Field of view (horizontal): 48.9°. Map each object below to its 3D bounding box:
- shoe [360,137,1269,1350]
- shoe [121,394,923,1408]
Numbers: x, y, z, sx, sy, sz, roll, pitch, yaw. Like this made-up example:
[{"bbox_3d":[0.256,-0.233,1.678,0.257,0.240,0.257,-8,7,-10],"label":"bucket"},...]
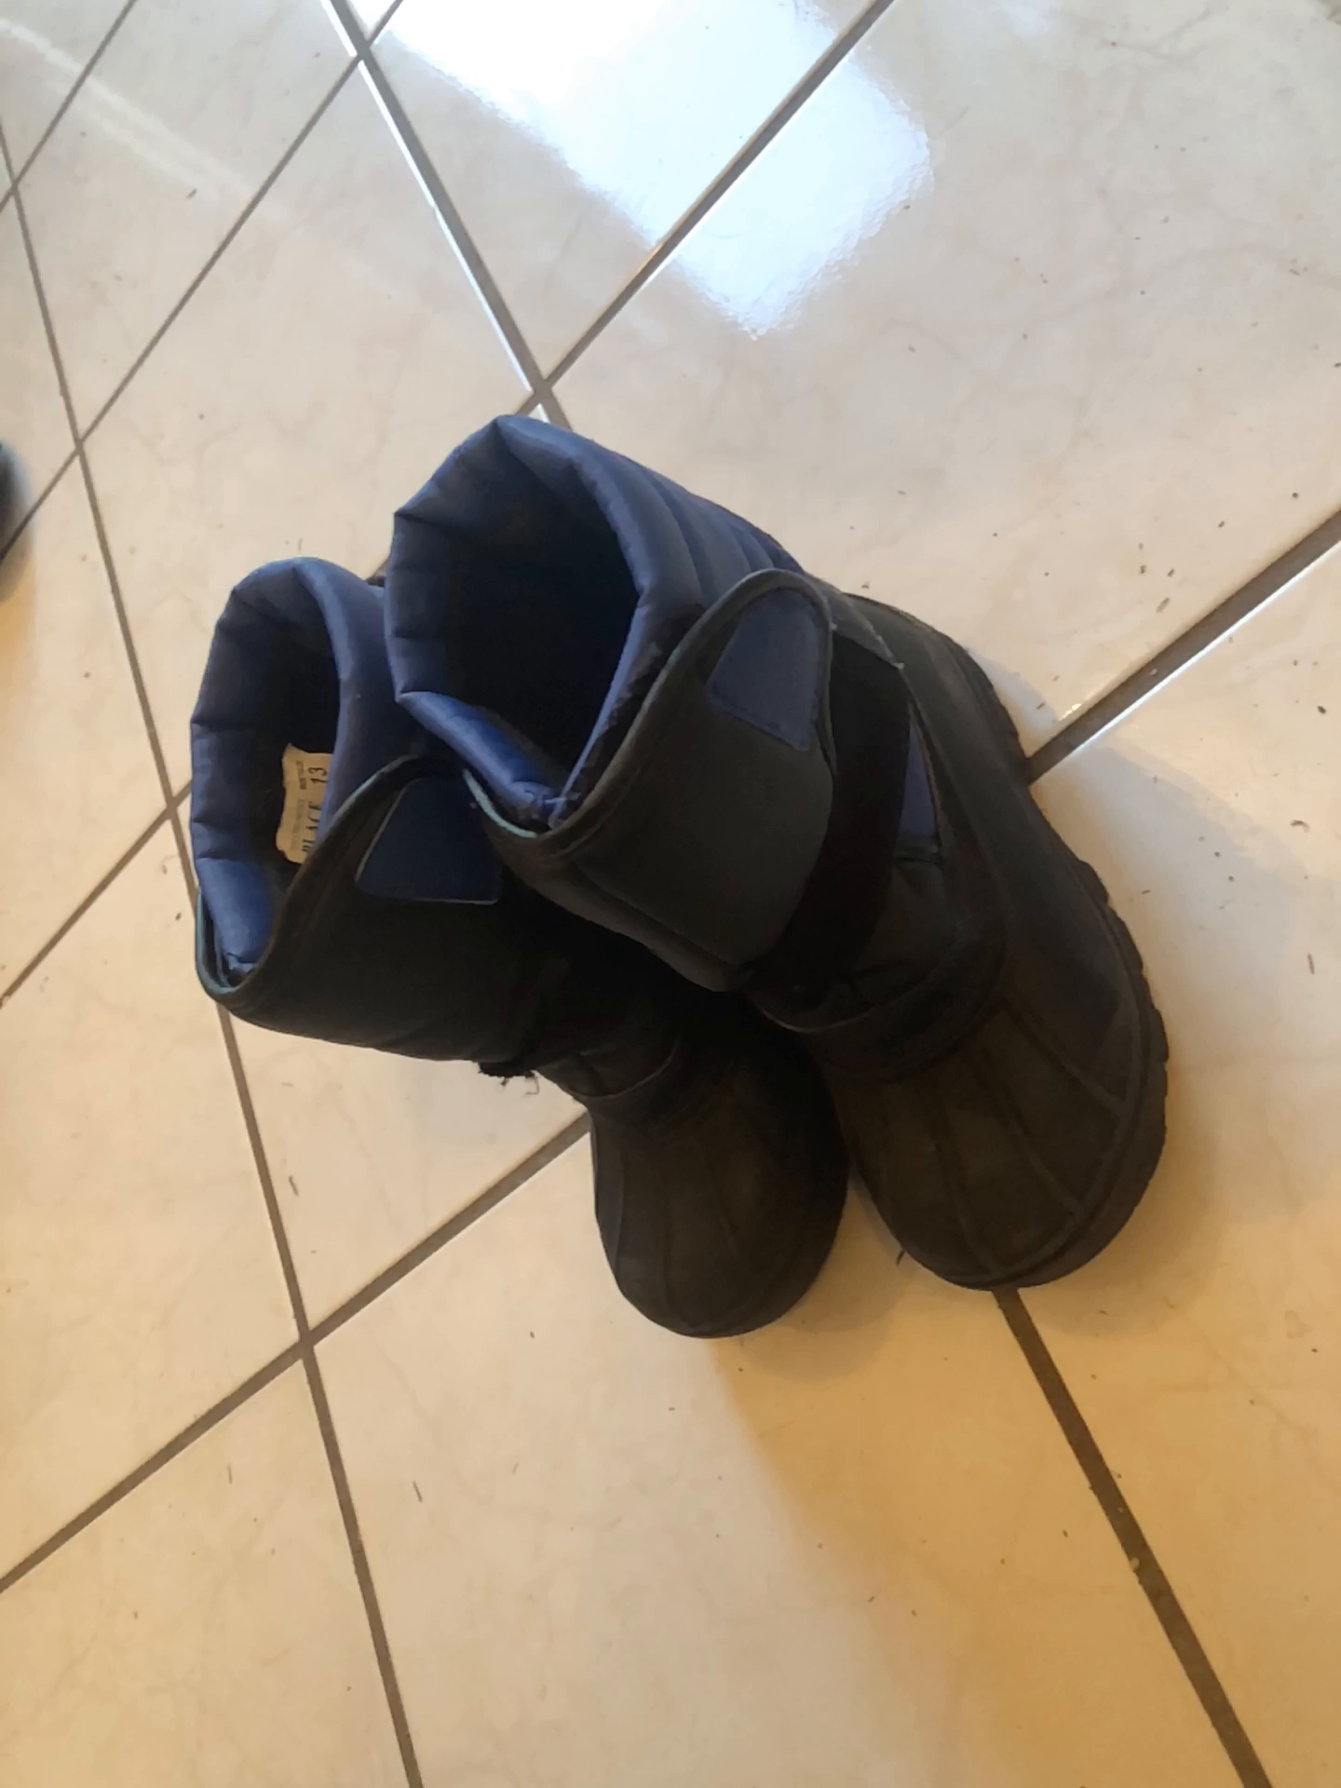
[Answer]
[{"bbox_3d":[0.038,-0.021,0.391,0.100,0.199,0.251,-25,64,34],"label":"shoe"},{"bbox_3d":[-0.042,0.016,0.431,0.100,0.199,0.230,-23,65,35],"label":"shoe"}]
